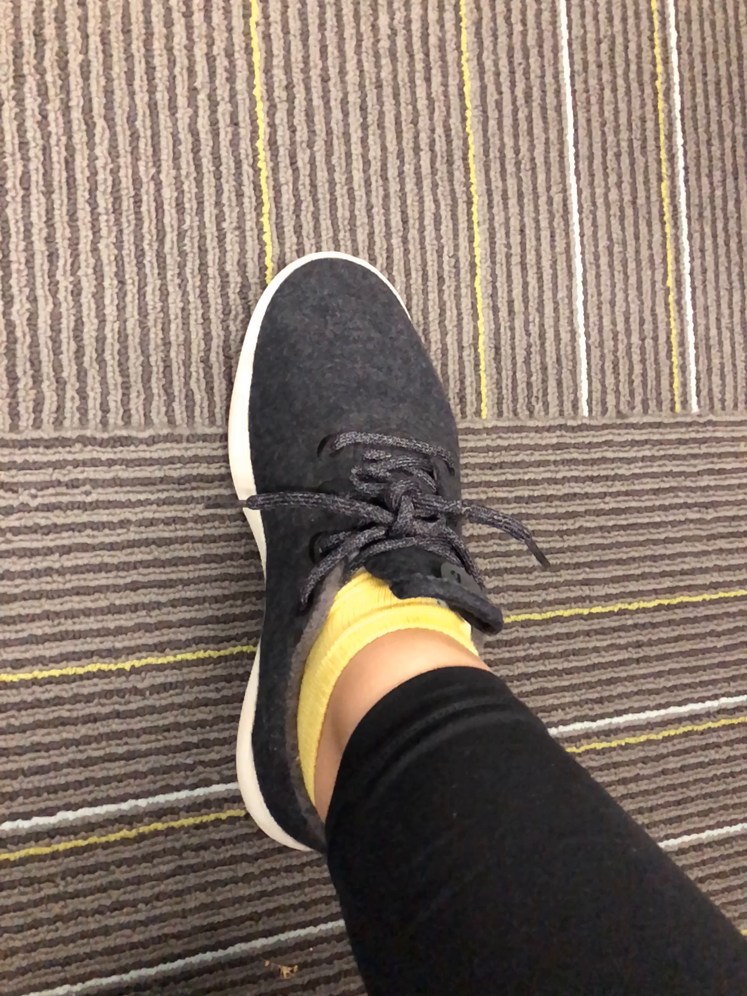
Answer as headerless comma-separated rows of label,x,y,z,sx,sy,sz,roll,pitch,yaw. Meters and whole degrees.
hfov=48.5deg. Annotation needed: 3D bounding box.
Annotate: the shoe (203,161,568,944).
shoe,0.002,0.019,0.334,0.120,0.080,0.260,2,88,-20
